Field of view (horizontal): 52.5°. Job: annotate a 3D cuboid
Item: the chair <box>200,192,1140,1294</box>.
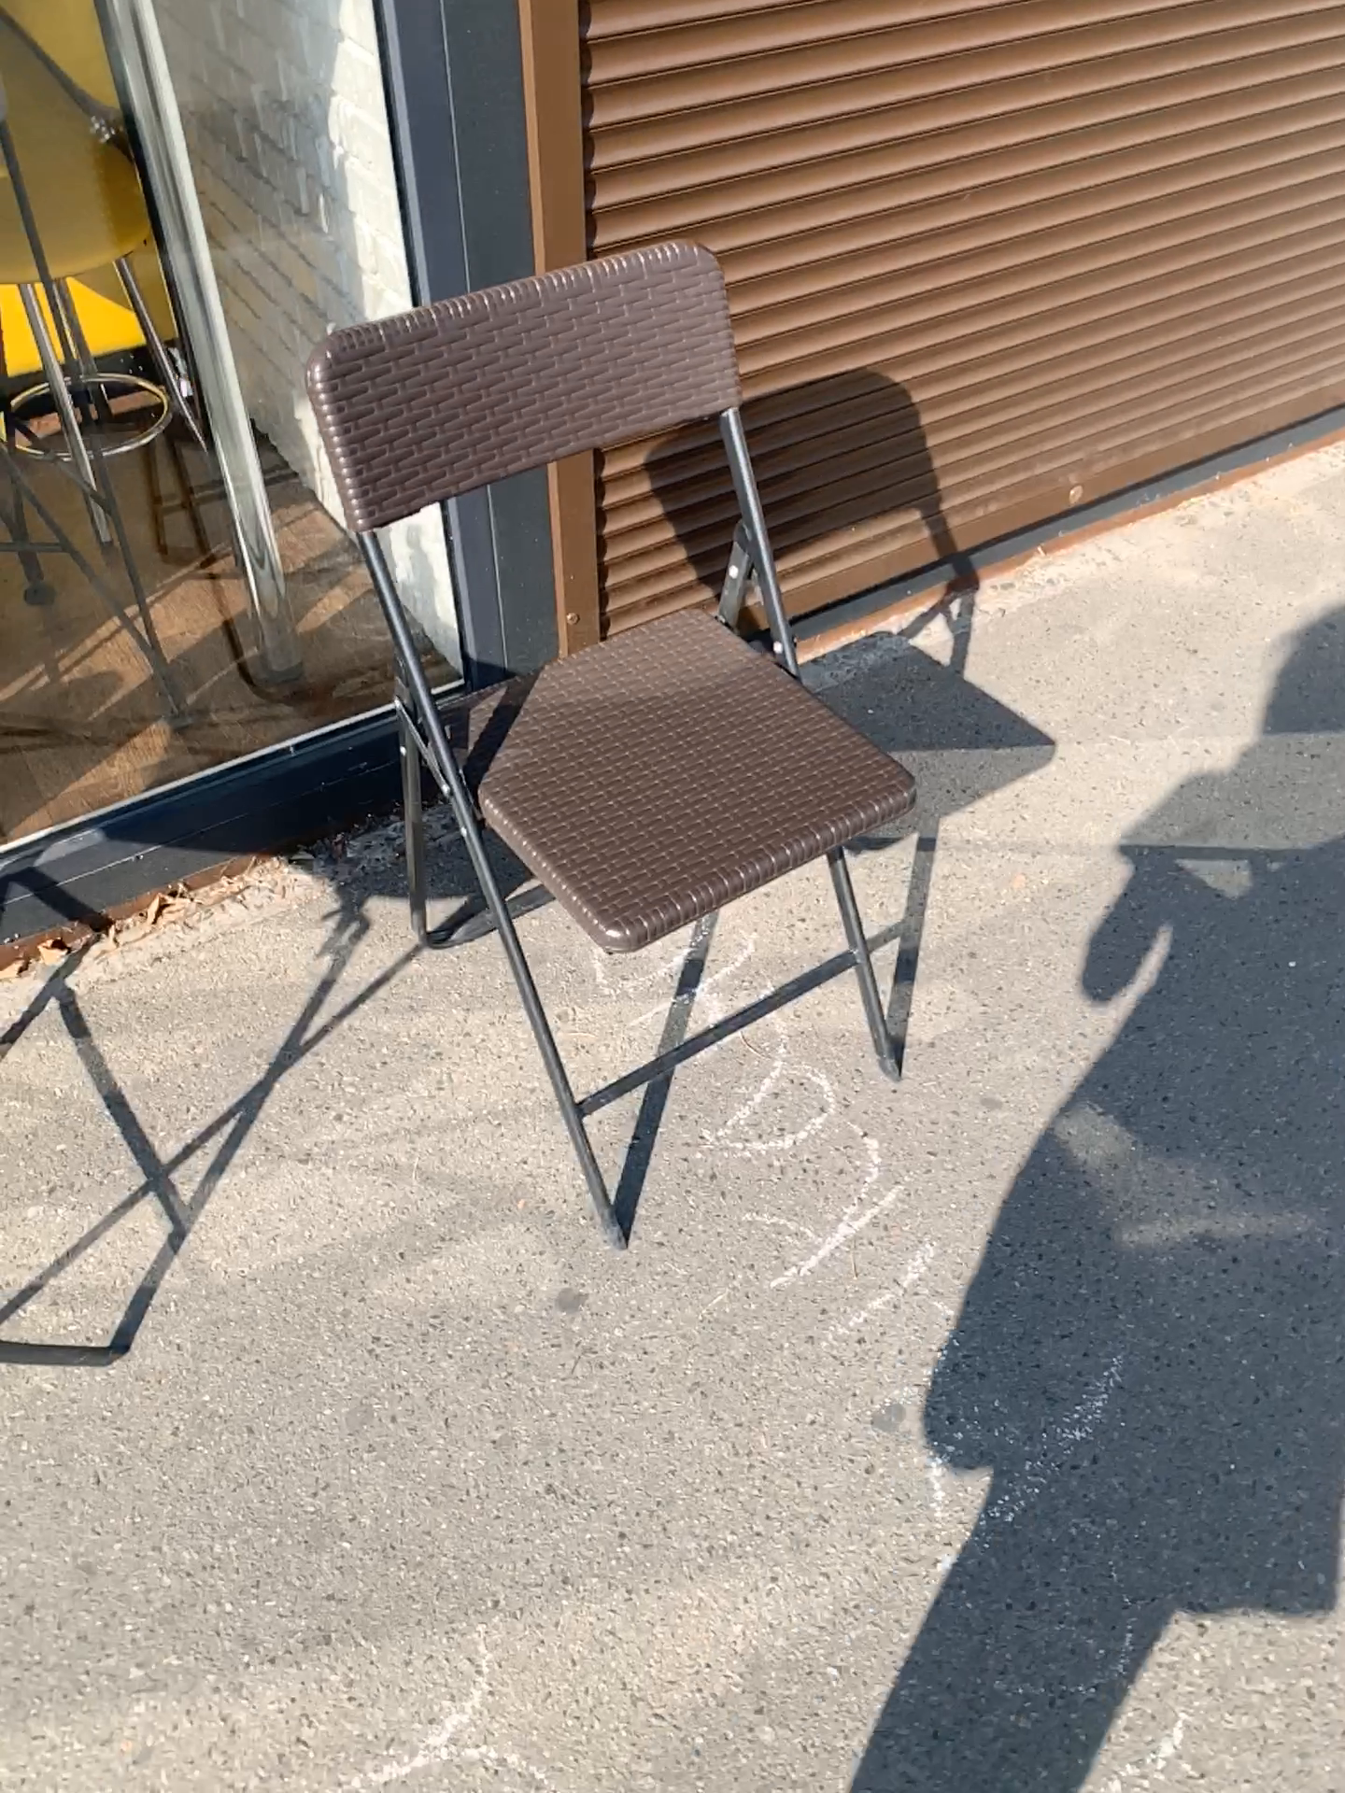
[{"bbox_3d":[-0.035,-0.146,1.353,0.480,0.767,0.612,-26,53,-23],"label":"chair"}]
